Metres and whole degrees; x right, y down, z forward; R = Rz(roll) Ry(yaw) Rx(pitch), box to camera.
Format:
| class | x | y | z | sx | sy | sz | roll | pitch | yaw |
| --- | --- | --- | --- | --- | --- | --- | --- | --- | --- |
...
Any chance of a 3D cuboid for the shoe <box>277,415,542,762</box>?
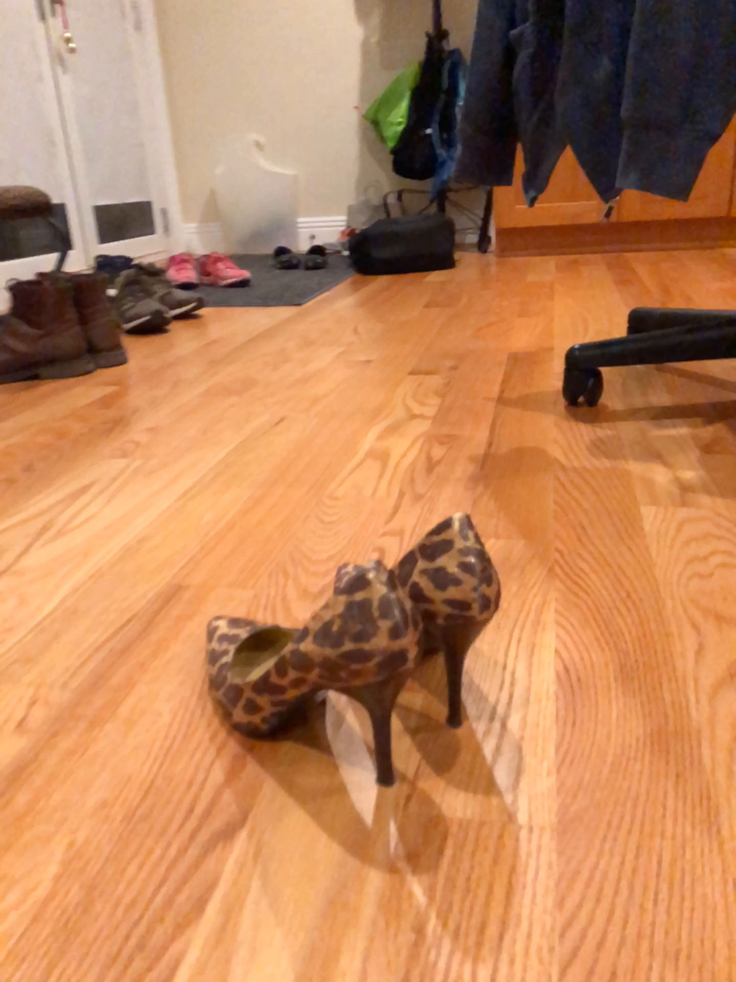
| class | x | y | z | sx | sy | sz | roll | pitch | yaw |
| --- | --- | --- | --- | --- | --- | --- | --- | --- | --- |
| shoe | 0.018 | 0.049 | 0.548 | 0.084 | 0.144 | 0.219 | -12 | 22 | -22 |

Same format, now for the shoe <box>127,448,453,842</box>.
| class | x | y | z | sx | sy | sz | roll | pitch | yaw |
| --- | --- | --- | --- | --- | --- | --- | --- | --- | --- |
| shoe | -0.055 | 0.075 | 0.491 | 0.084 | 0.144 | 0.219 | -18 | 25 | -34 |
